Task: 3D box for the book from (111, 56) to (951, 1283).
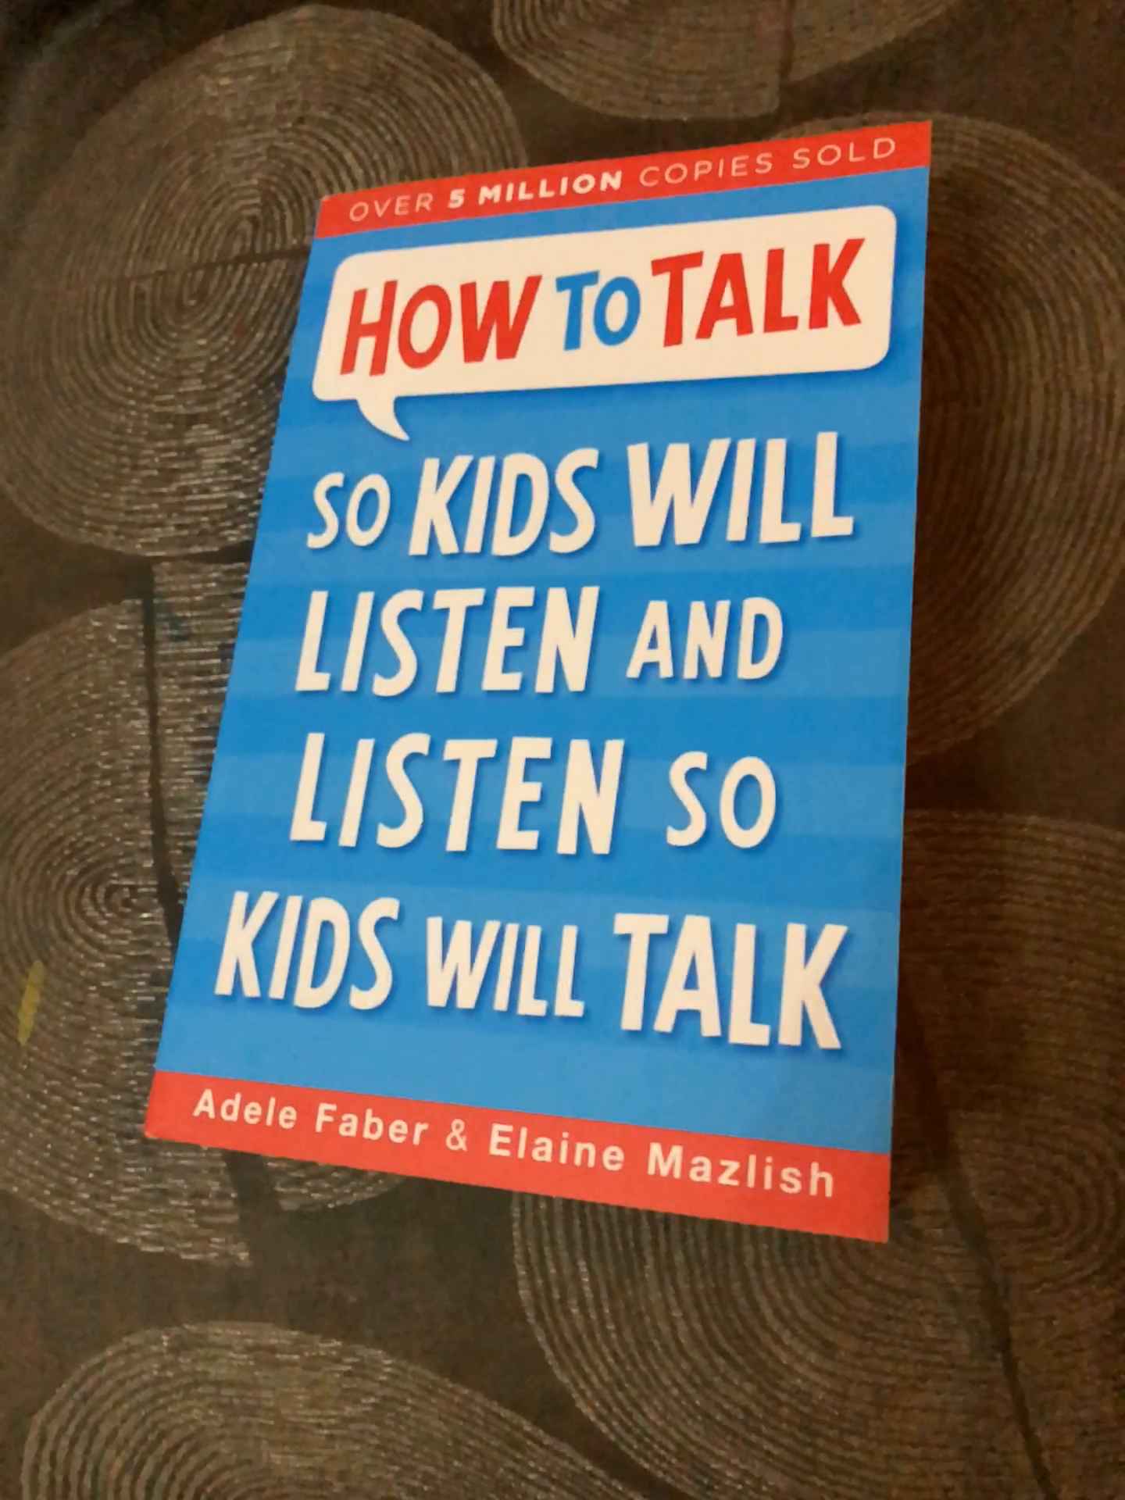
[{"bbox_3d":[-0.001,-0.022,0.240,0.140,0.030,0.210,1,78,17],"label":"book"}]
